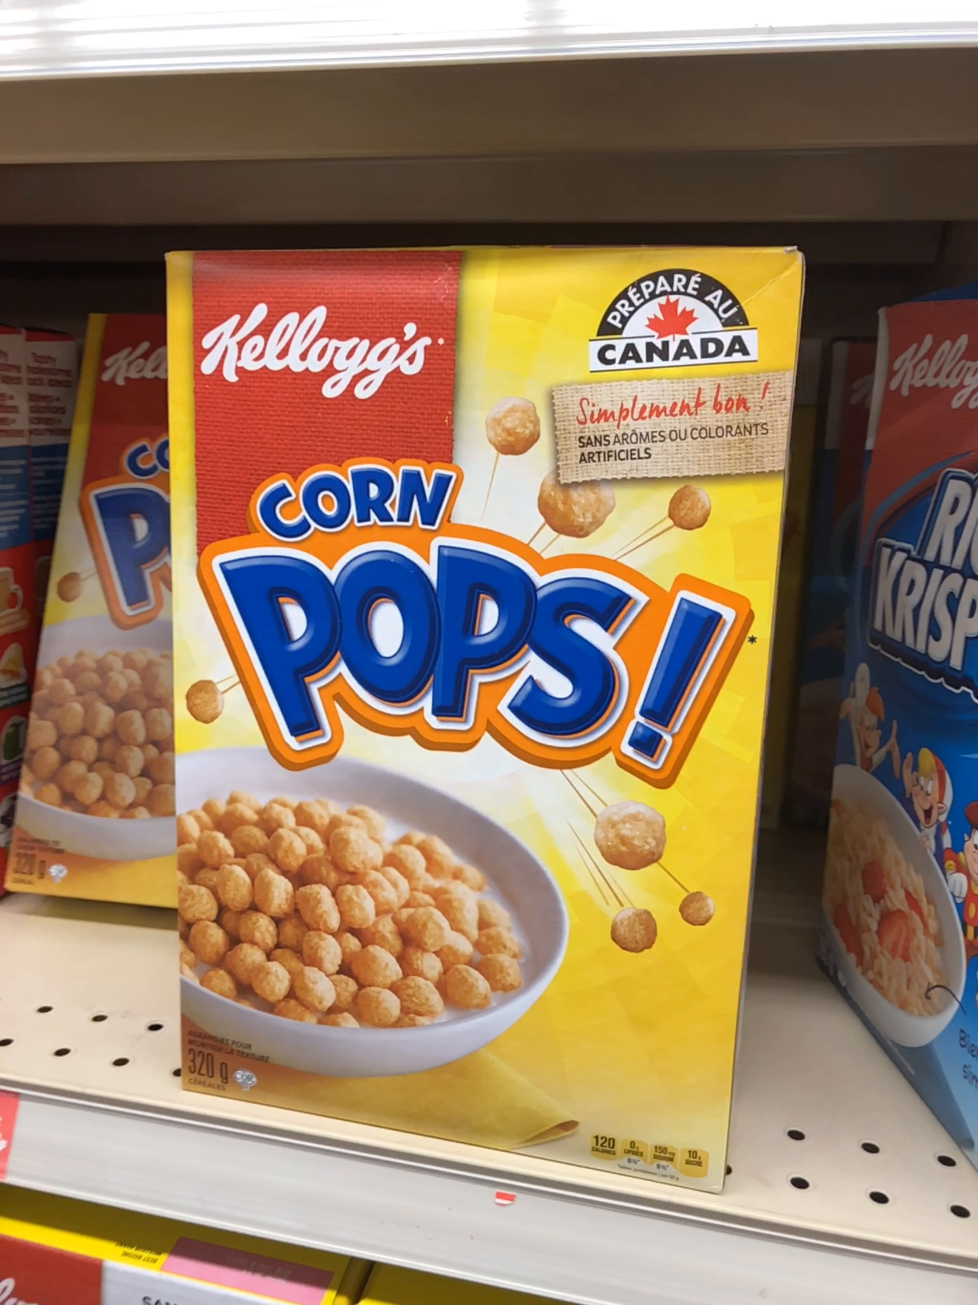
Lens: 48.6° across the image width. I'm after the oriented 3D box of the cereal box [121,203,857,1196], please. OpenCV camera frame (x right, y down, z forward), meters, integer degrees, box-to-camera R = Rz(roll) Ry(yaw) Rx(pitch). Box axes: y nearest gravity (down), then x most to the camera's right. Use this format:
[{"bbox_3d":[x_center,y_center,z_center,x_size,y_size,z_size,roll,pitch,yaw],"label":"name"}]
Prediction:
[{"bbox_3d":[-0.005,0.012,0.358,0.210,0.289,0.060,5,13,14],"label":"cereal box"}]
